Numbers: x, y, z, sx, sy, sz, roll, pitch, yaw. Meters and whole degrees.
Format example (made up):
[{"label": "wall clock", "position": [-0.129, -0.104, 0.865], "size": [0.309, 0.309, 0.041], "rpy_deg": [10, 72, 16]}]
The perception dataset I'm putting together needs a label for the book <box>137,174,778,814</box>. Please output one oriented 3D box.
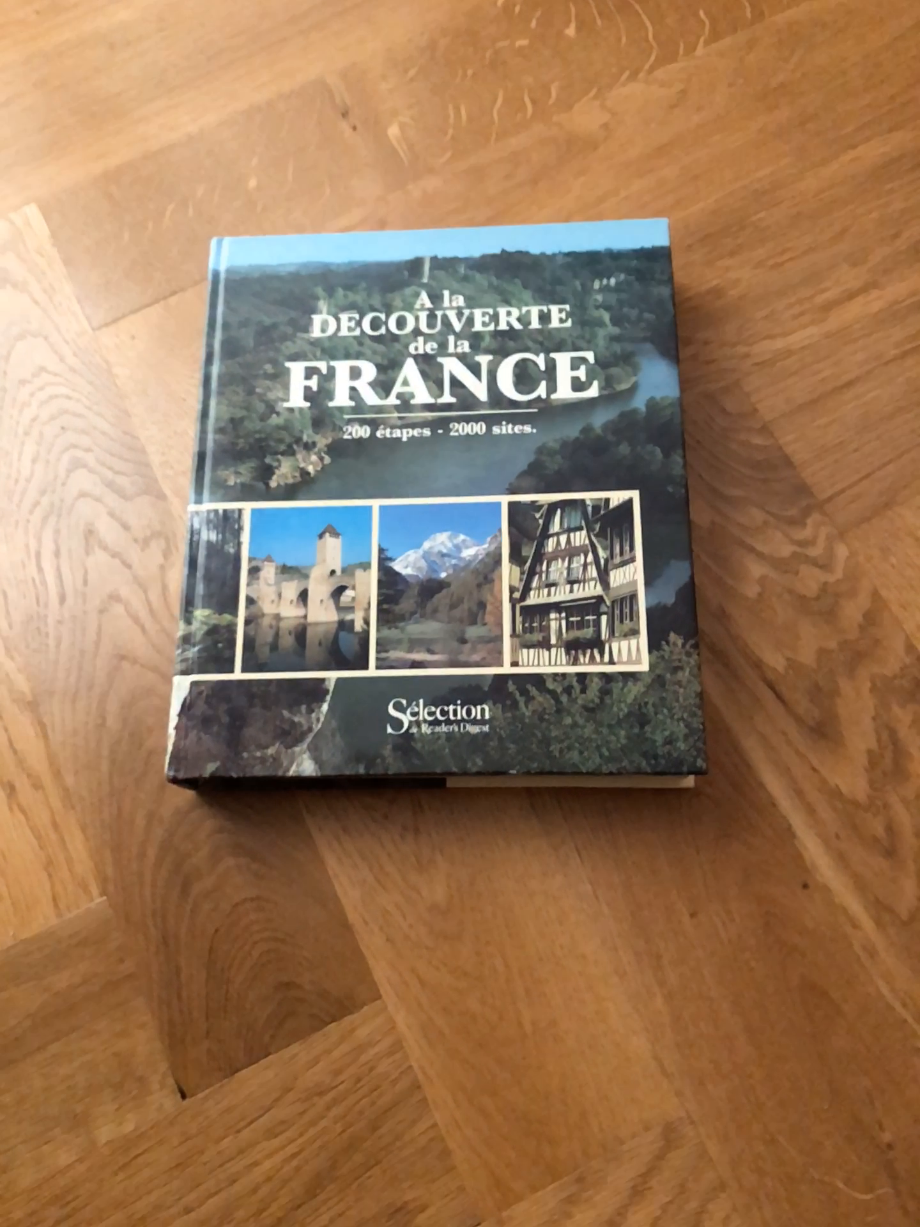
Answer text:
[{"label": "book", "position": [-0.001, -0.059, 0.457], "size": [0.250, 0.040, 0.291], "rpy_deg": [-1, 72, 4]}]
